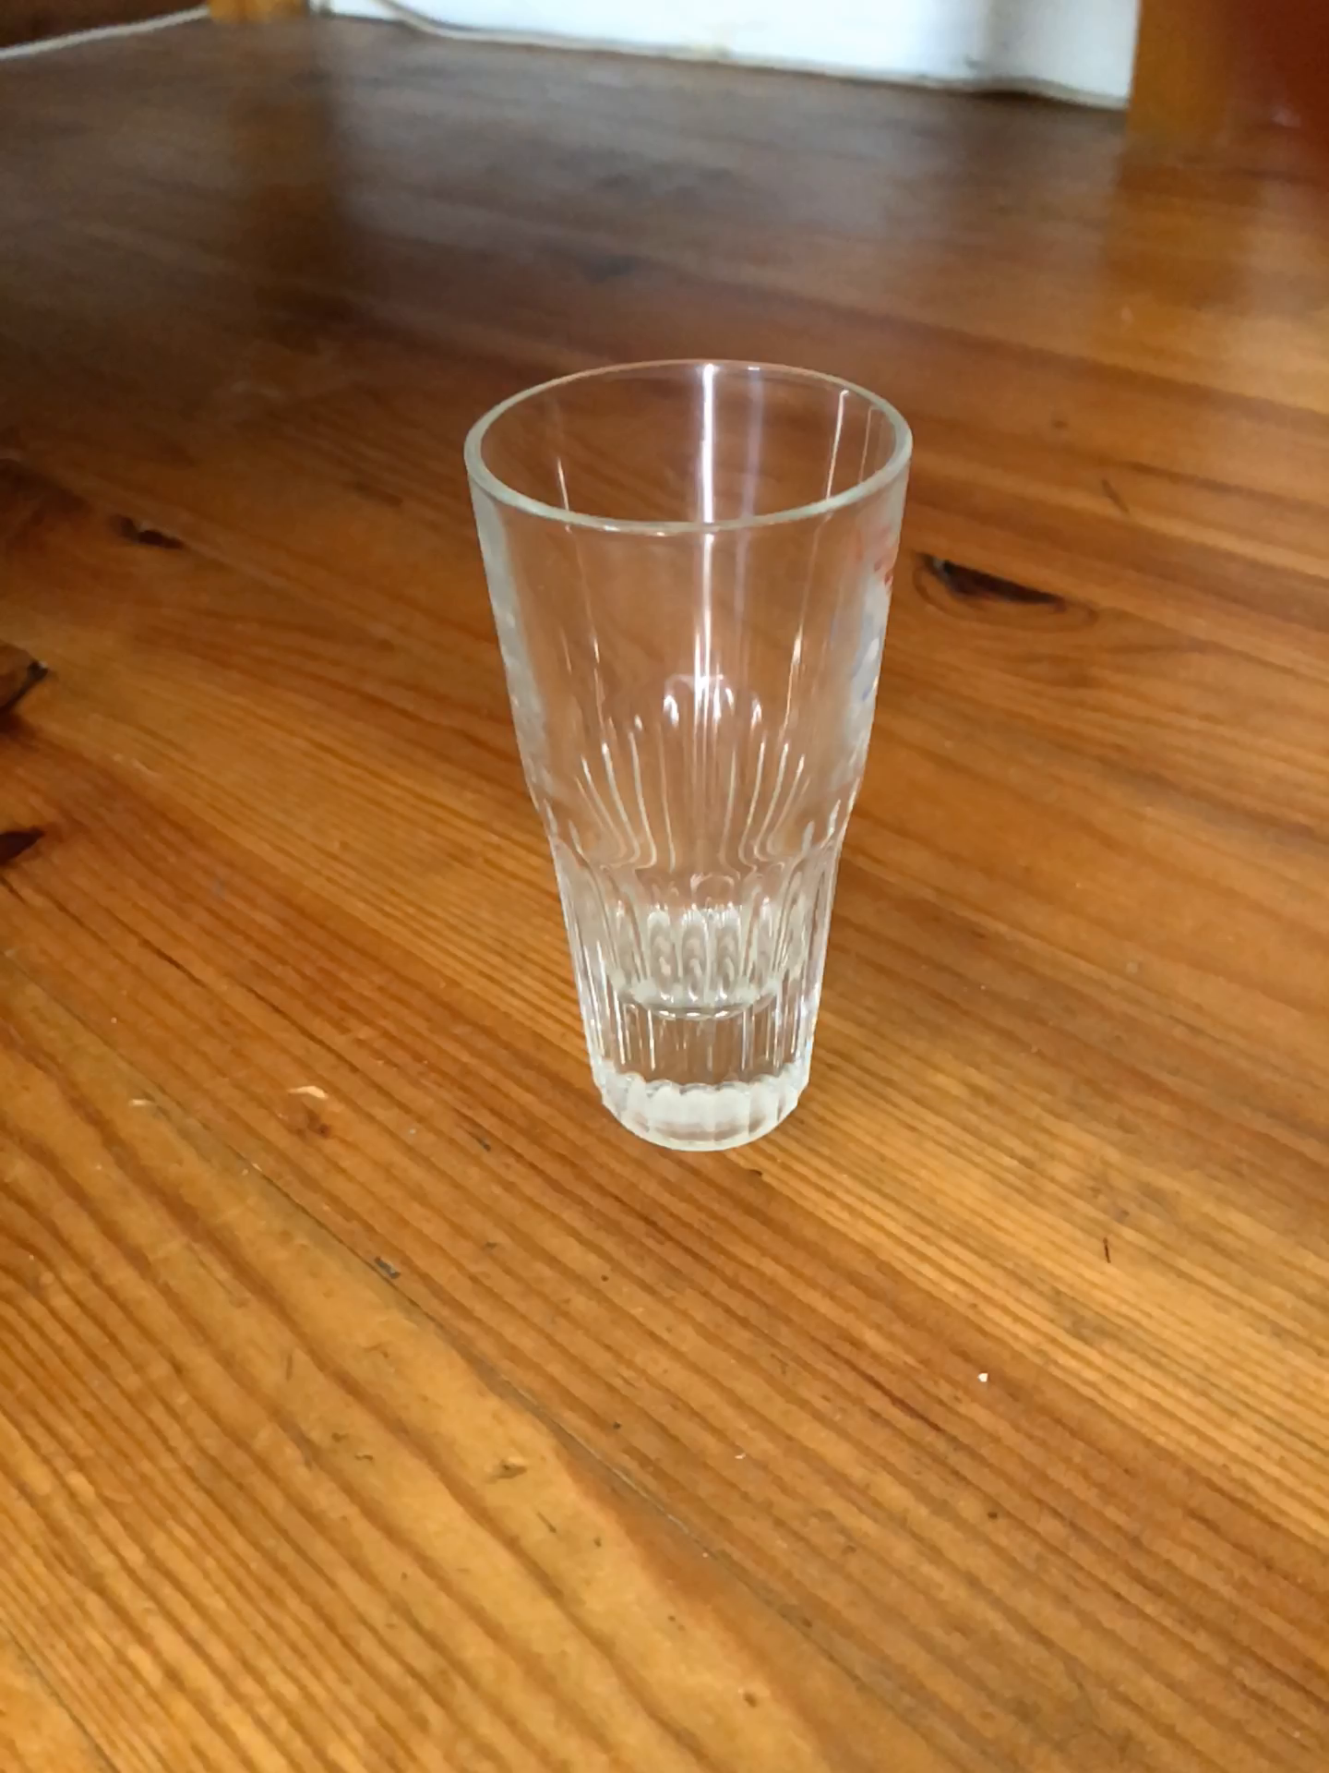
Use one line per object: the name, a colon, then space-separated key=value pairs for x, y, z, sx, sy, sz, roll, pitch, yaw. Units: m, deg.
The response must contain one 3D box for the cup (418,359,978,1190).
cup: x=0.008 y=-0.016 z=0.240 sx=0.068 sy=0.116 sz=0.064 roll=-1 pitch=37 yaw=1
